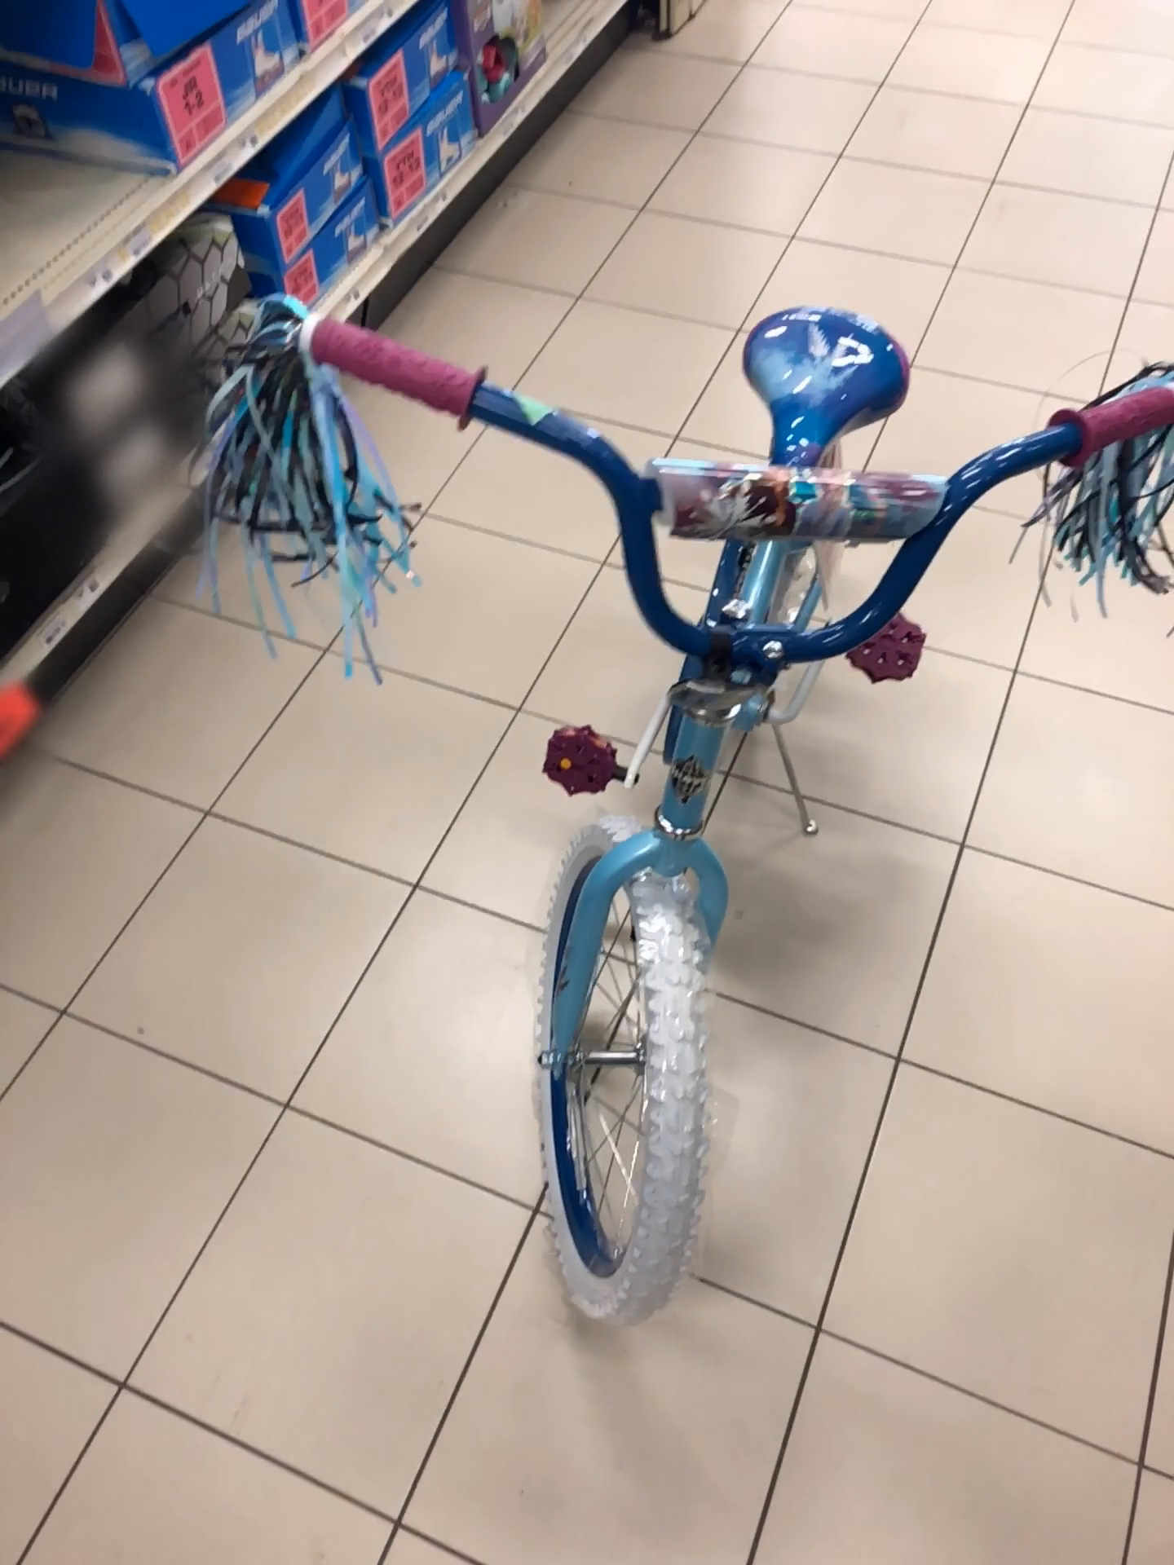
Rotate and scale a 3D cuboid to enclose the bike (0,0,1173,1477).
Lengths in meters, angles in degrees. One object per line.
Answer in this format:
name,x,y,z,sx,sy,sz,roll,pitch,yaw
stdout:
bike,0.189,-0.155,1.180,0.640,0.953,1.180,10,52,10
